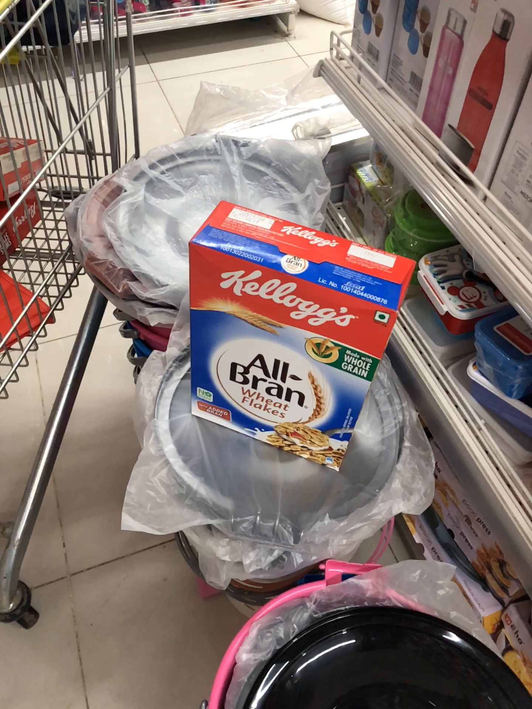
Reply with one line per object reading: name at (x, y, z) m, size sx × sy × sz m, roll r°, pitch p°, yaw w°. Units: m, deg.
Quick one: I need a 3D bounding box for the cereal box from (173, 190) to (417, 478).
cereal box at (0.016, -0.005, 0.587) m, size 0.190 × 0.269 × 0.070 m, roll 20°, pitch 51°, yaw 11°
